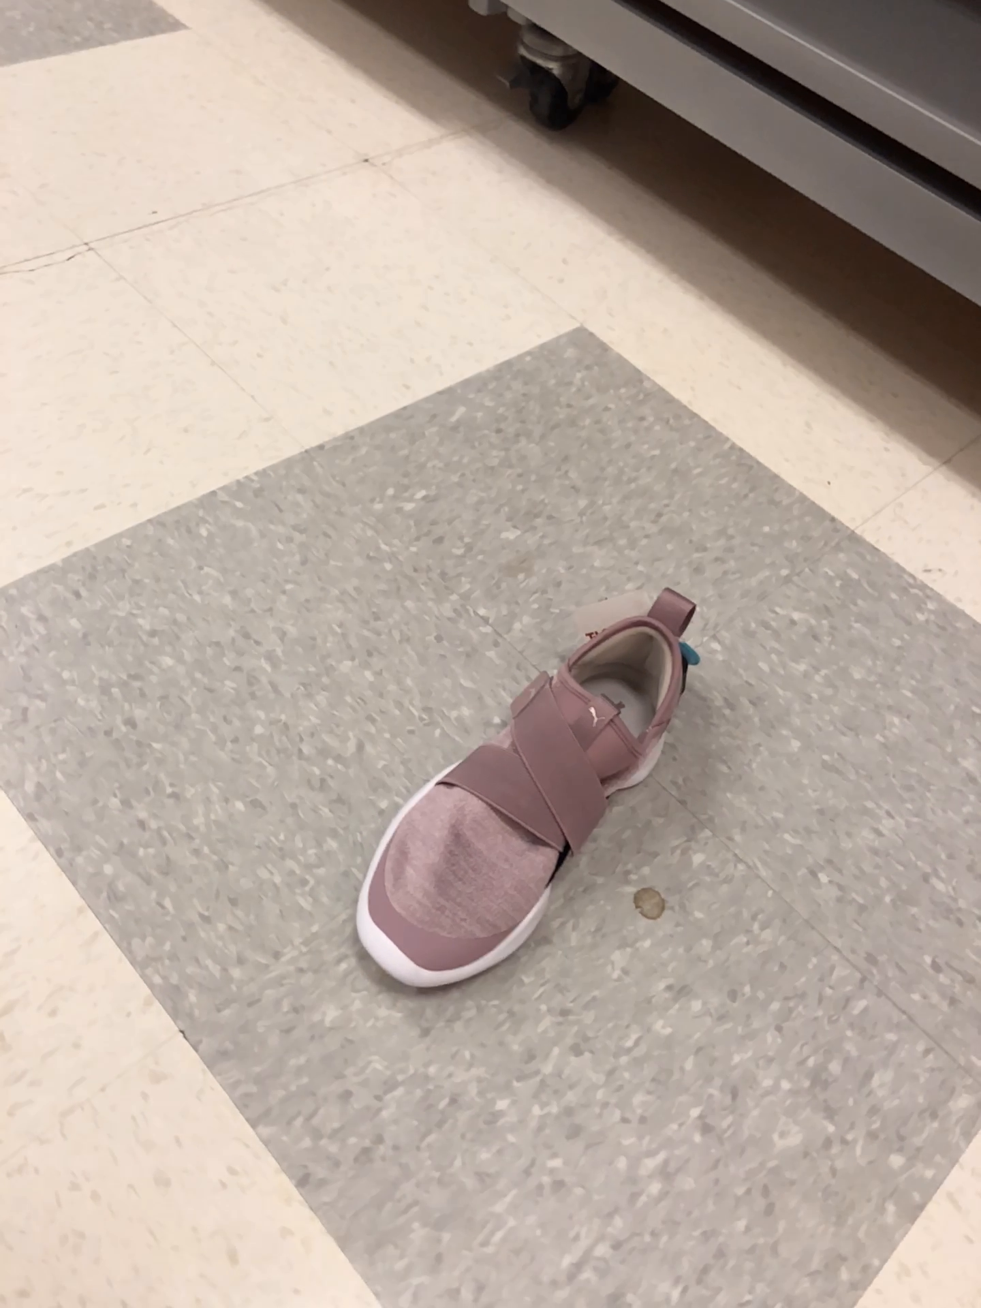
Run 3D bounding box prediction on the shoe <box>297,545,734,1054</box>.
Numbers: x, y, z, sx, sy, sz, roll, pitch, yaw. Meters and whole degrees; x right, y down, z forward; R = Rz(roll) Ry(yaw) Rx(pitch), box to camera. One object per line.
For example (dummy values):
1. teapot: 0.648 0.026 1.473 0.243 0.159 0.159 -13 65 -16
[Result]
1. shoe: 0.021 0.069 0.614 0.105 0.093 0.273 32 53 14
